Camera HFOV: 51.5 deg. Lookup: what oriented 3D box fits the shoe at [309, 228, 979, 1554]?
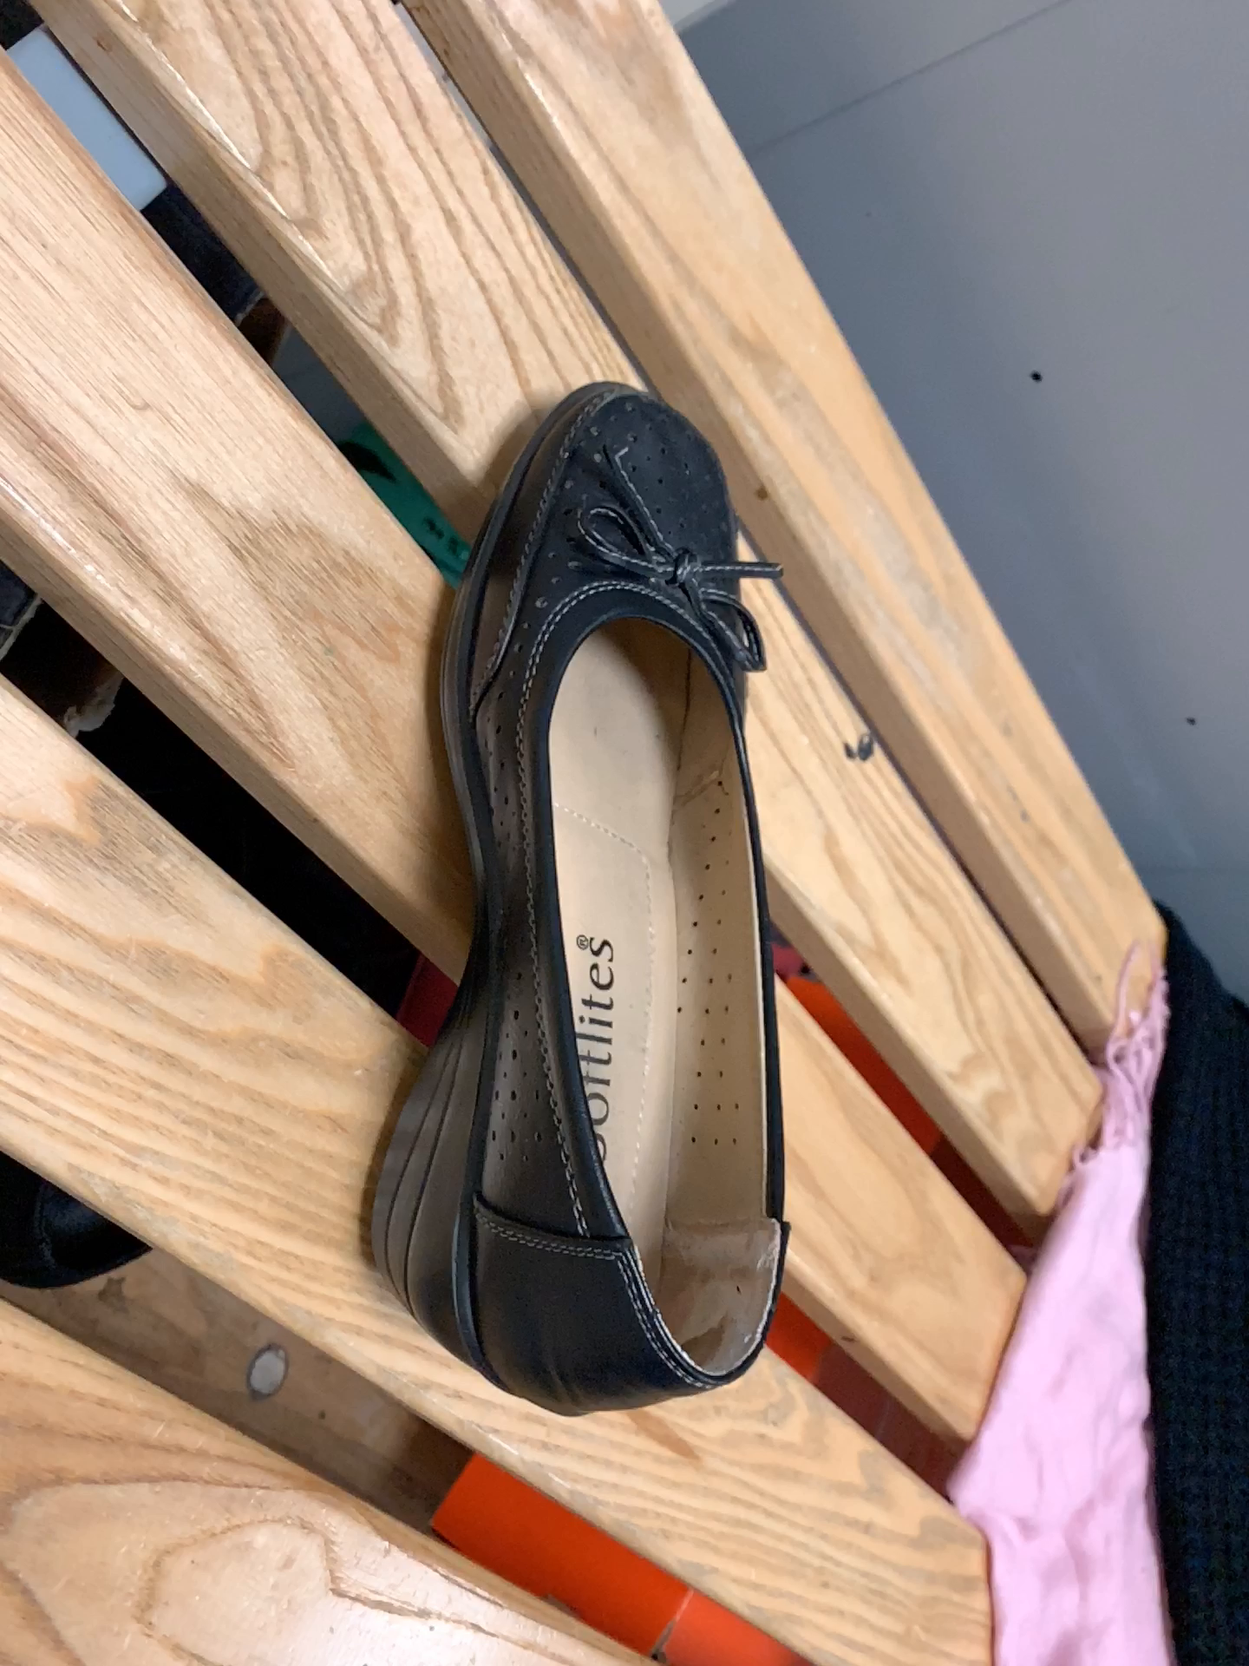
[{"bbox_3d":[0.011,0.010,0.327,0.087,0.109,0.273,20,71,-43],"label":"shoe"}]
